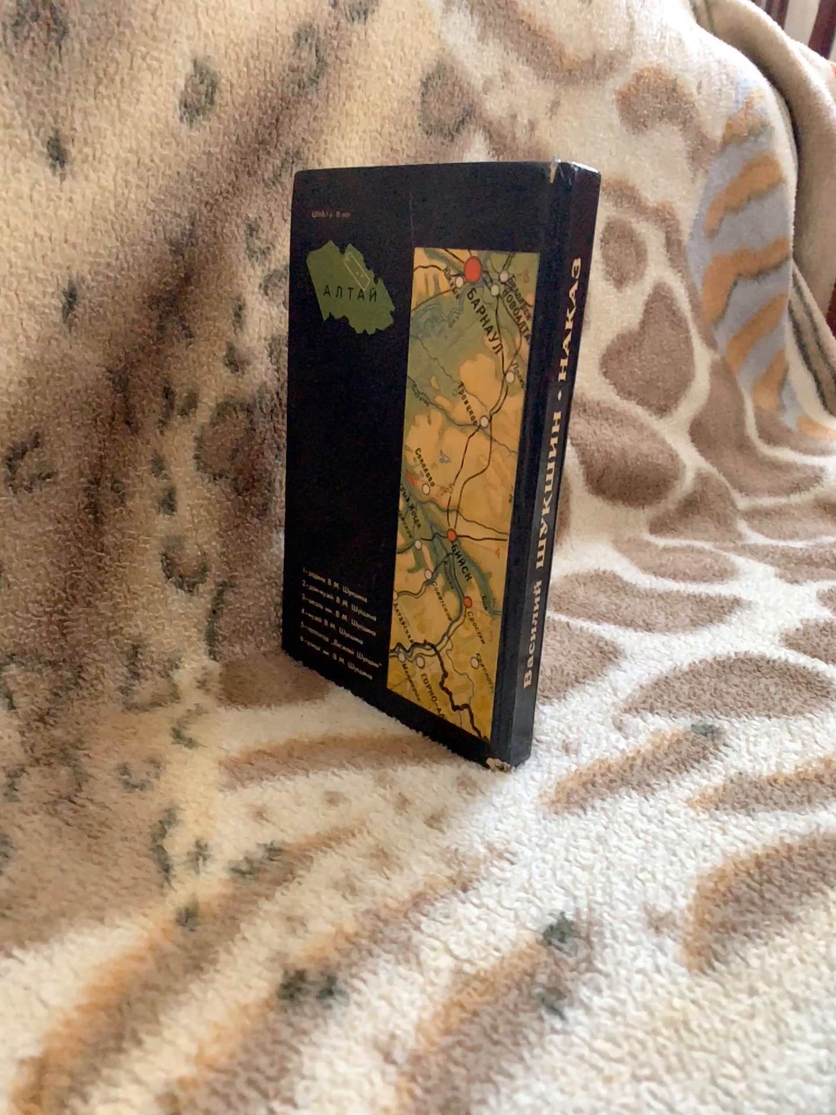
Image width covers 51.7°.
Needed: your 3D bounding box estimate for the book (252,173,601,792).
[{"bbox_3d":[-0.010,-0.034,0.323,0.030,0.199,0.130,-13,26,-43],"label":"book"}]
